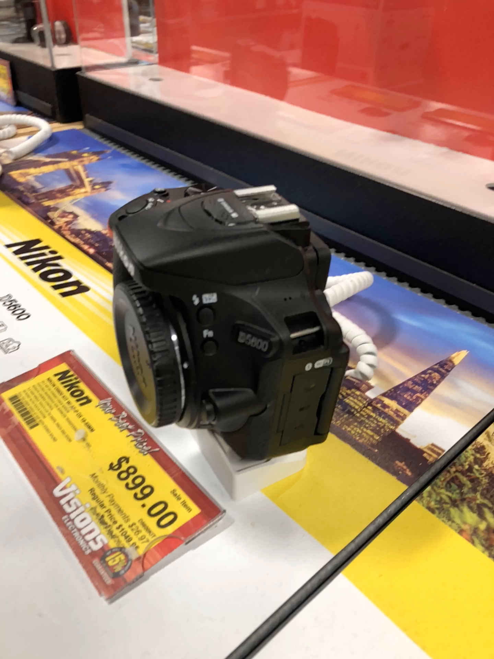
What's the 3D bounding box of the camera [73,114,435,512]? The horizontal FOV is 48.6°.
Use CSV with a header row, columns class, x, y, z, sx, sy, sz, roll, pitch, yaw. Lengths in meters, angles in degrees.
class,x,y,z,sx,sy,sz,roll,pitch,yaw
camera,-0.013,-0.021,0.228,0.080,0.089,0.141,-12,41,-24
